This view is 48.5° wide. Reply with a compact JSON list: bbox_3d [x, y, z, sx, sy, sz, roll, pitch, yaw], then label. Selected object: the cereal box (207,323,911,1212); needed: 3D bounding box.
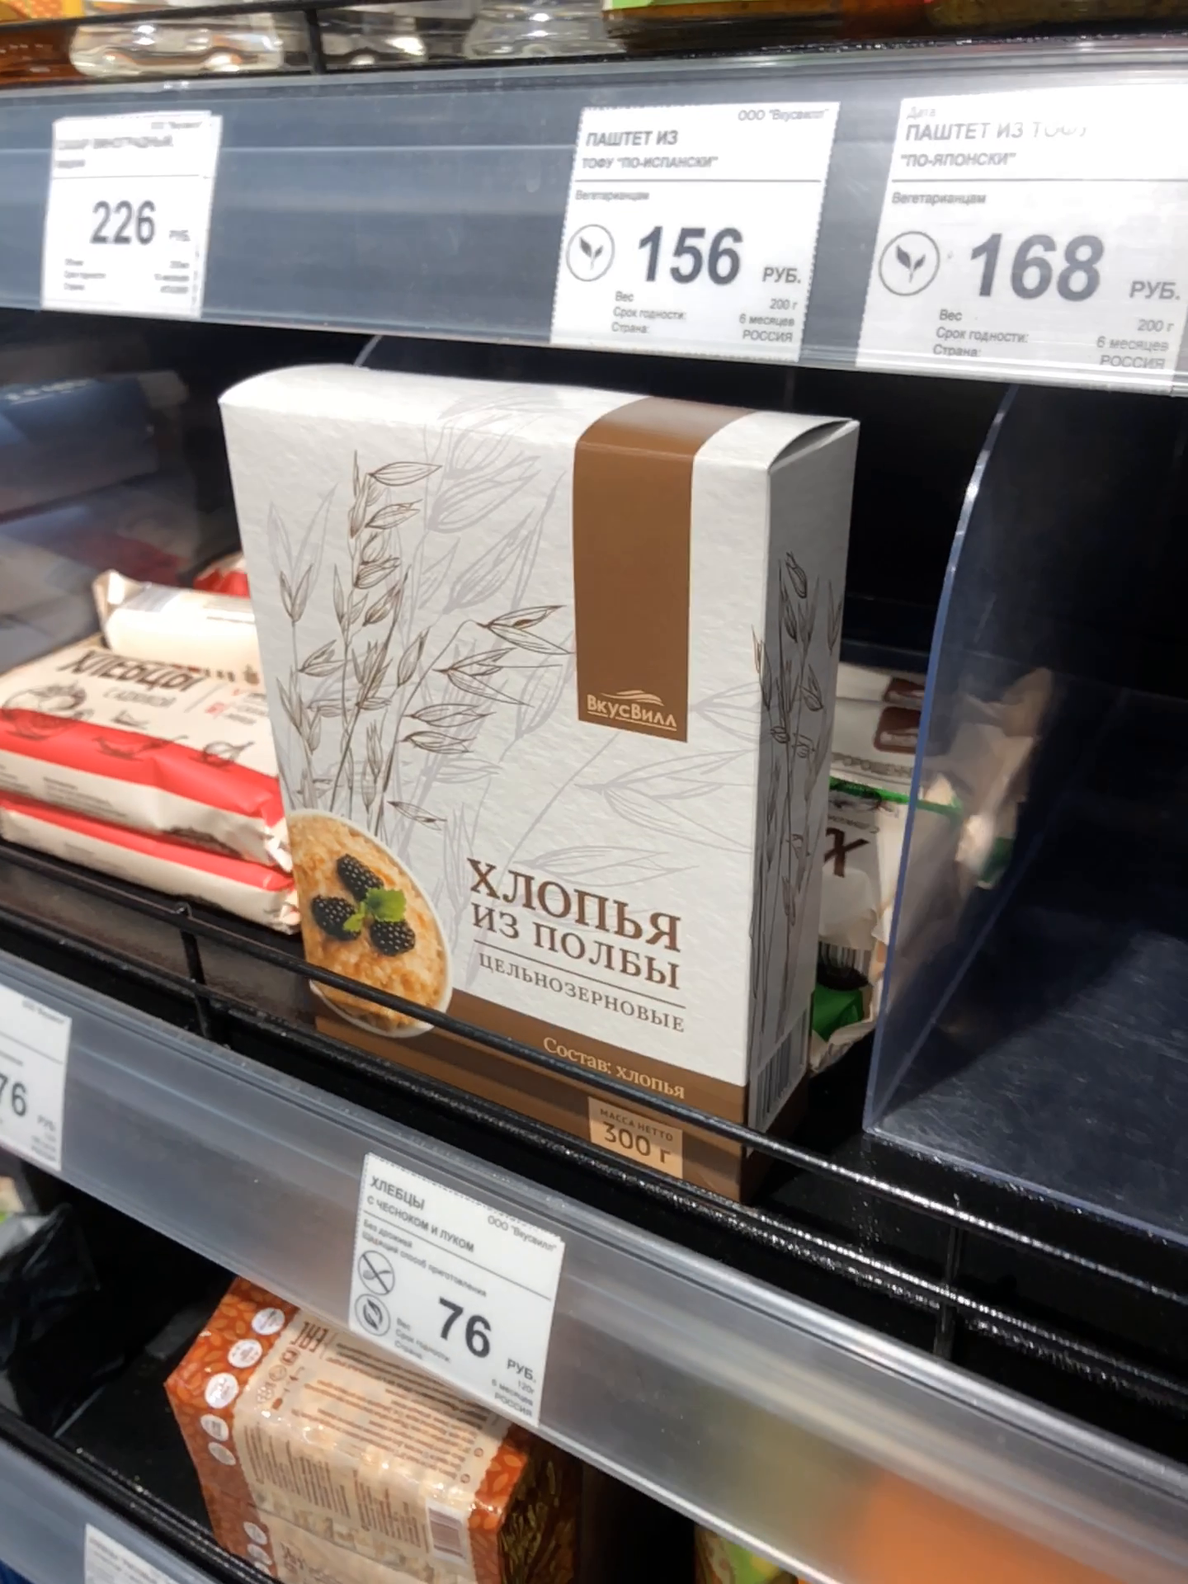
[{"bbox_3d":[-0.010,-0.010,0.329,0.150,0.189,0.050,15,31,29],"label":"cereal box"}]
